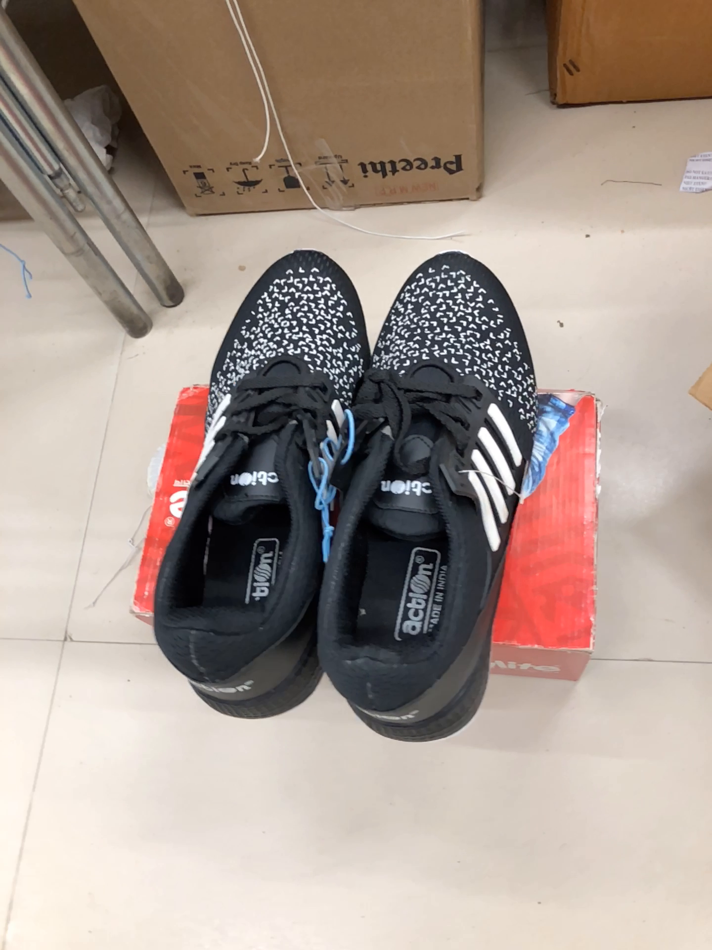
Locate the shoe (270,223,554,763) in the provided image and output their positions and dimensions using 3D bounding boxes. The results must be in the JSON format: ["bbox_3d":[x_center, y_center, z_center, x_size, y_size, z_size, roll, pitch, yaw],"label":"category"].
[{"bbox_3d":[0.043,0.005,0.428,0.101,0.103,0.267,5,69,14],"label":"shoe"}]

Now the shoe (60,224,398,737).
[{"bbox_3d":[-0.055,-0.001,0.450,0.111,0.103,0.267,4,68,13],"label":"shoe"}]
